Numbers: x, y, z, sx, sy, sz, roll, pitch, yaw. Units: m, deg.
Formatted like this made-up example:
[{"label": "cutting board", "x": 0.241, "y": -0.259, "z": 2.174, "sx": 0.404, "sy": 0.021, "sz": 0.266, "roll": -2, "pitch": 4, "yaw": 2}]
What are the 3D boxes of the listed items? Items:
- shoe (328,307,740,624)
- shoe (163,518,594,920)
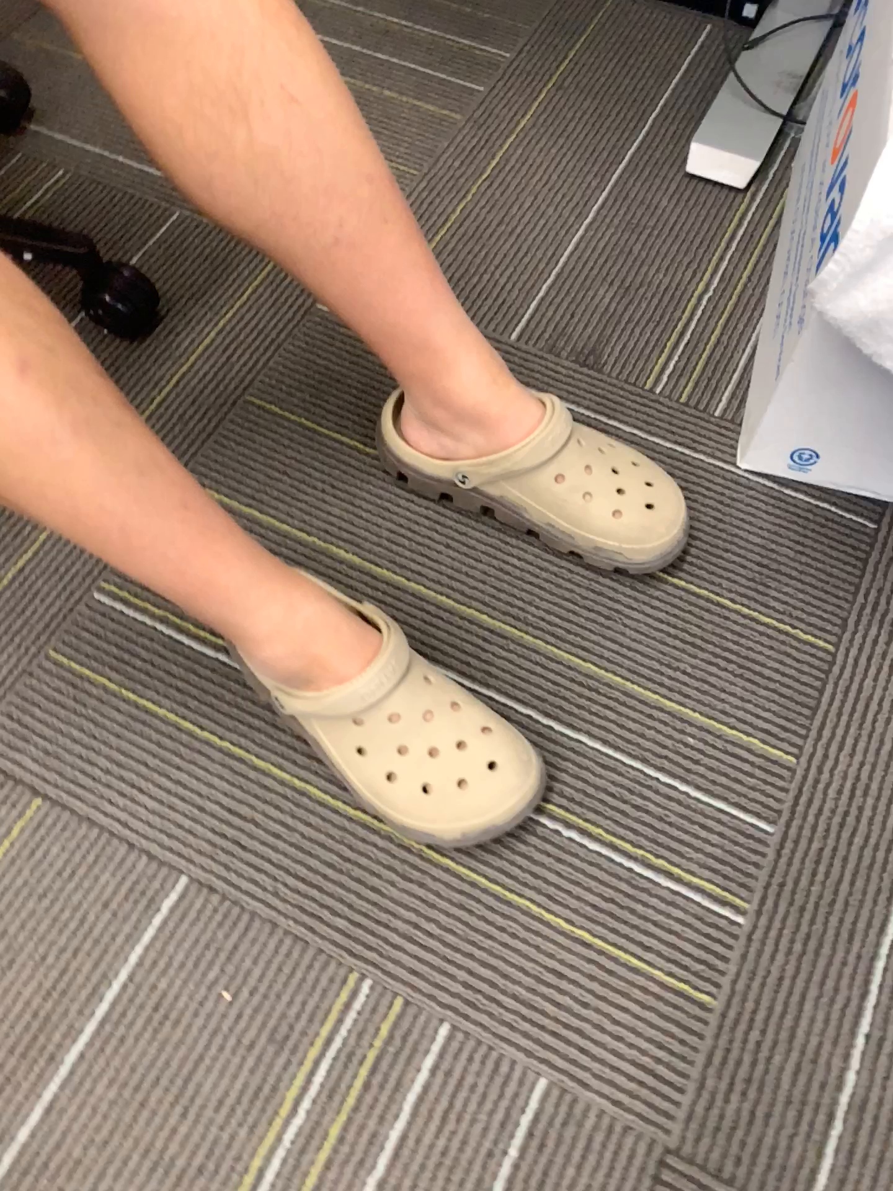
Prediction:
[{"label": "shoe", "x": 0.073, "y": -0.124, "z": 0.821, "sx": 0.330, "sy": 0.080, "sz": 0.140, "roll": 29, "pitch": 67, "yaw": 14}, {"label": "shoe", "x": -0.058, "y": 0.091, "z": 0.725, "sx": 0.321, "sy": 0.080, "sz": 0.134, "roll": 37, "pitch": 69, "yaw": 18}]
